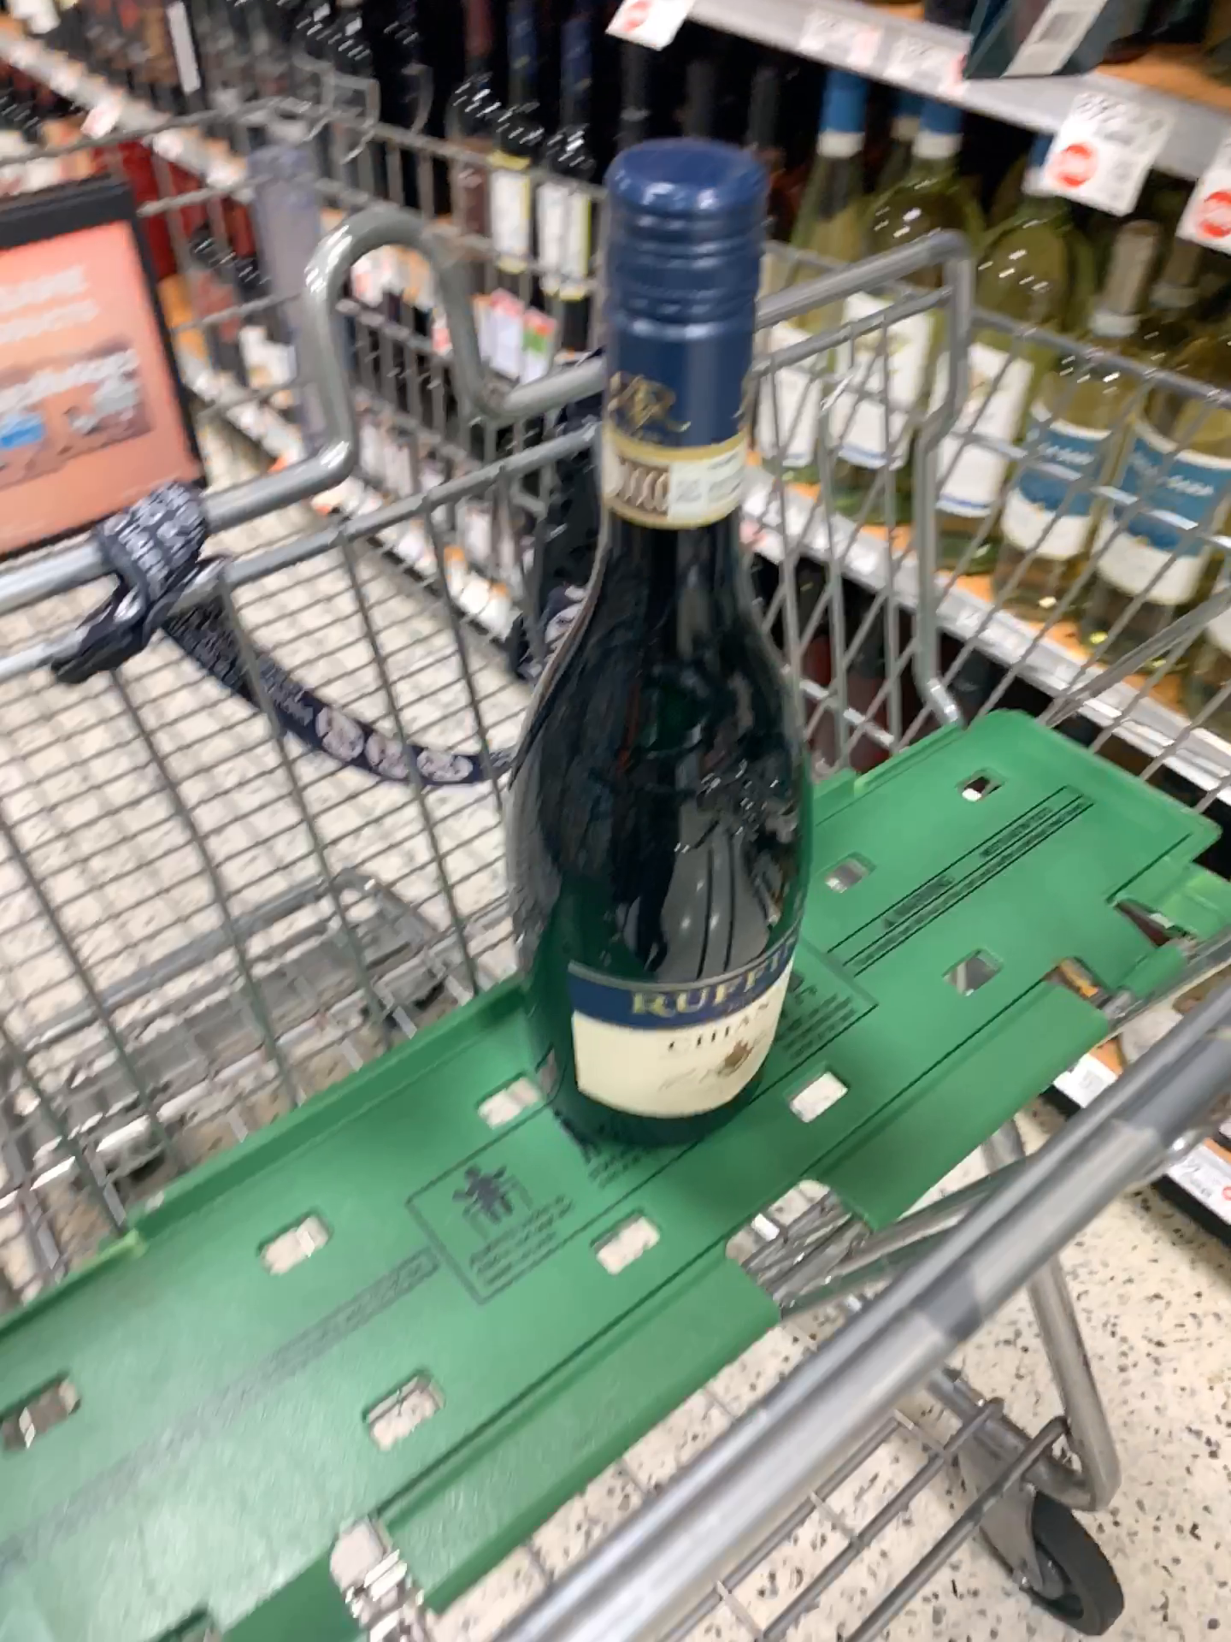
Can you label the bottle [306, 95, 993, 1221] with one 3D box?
[{"bbox_3d":[0.005,-0.020,0.328,0.090,0.267,0.091,0,45,0],"label":"bottle"}]
